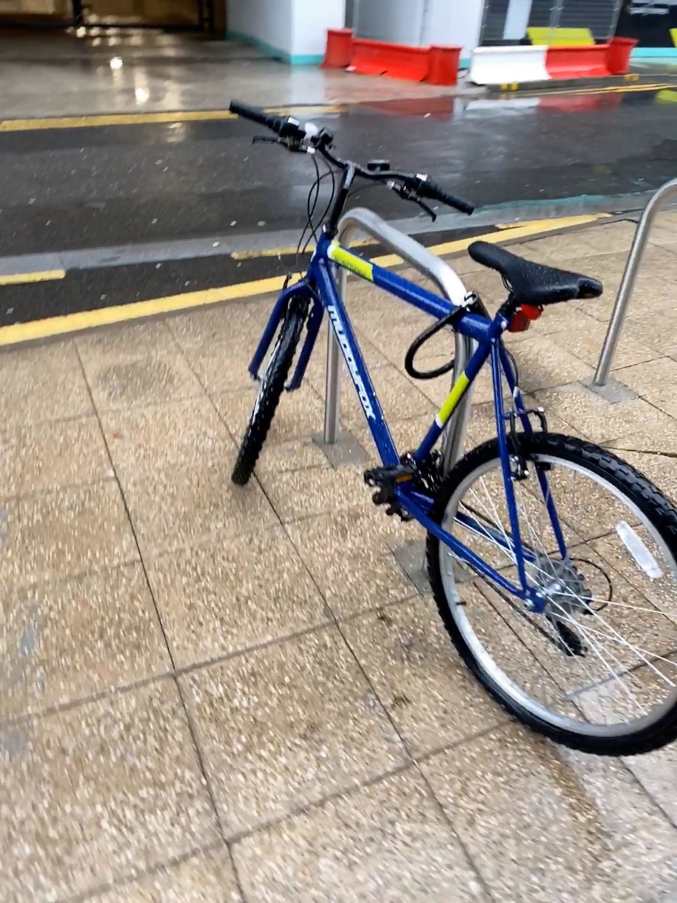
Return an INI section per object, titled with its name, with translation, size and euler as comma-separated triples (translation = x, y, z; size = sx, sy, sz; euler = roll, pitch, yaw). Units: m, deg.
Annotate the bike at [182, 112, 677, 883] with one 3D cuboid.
[bike]
translation = 0.230, -0.133, 1.612
size = 0.598, 1.012, 1.599
euler = -17, 37, -25
